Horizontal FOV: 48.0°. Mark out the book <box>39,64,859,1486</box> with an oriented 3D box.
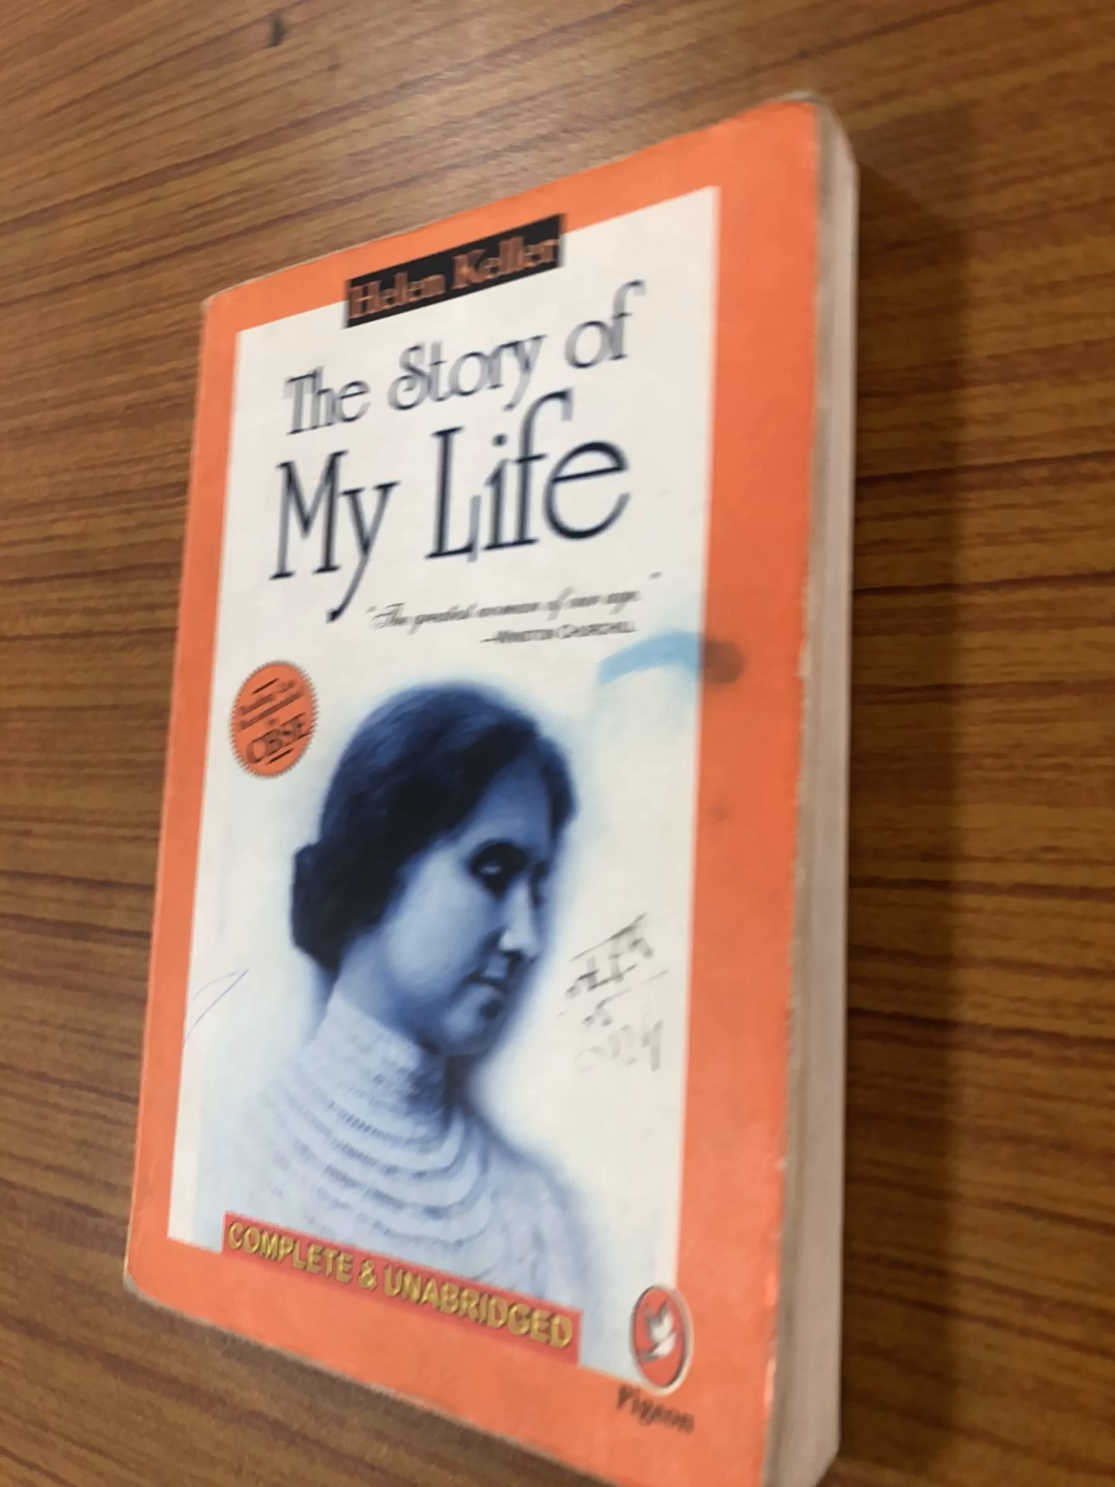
[{"bbox_3d":[-0.020,0.006,0.187,0.121,0.030,0.170,-2,82,33],"label":"book"}]
